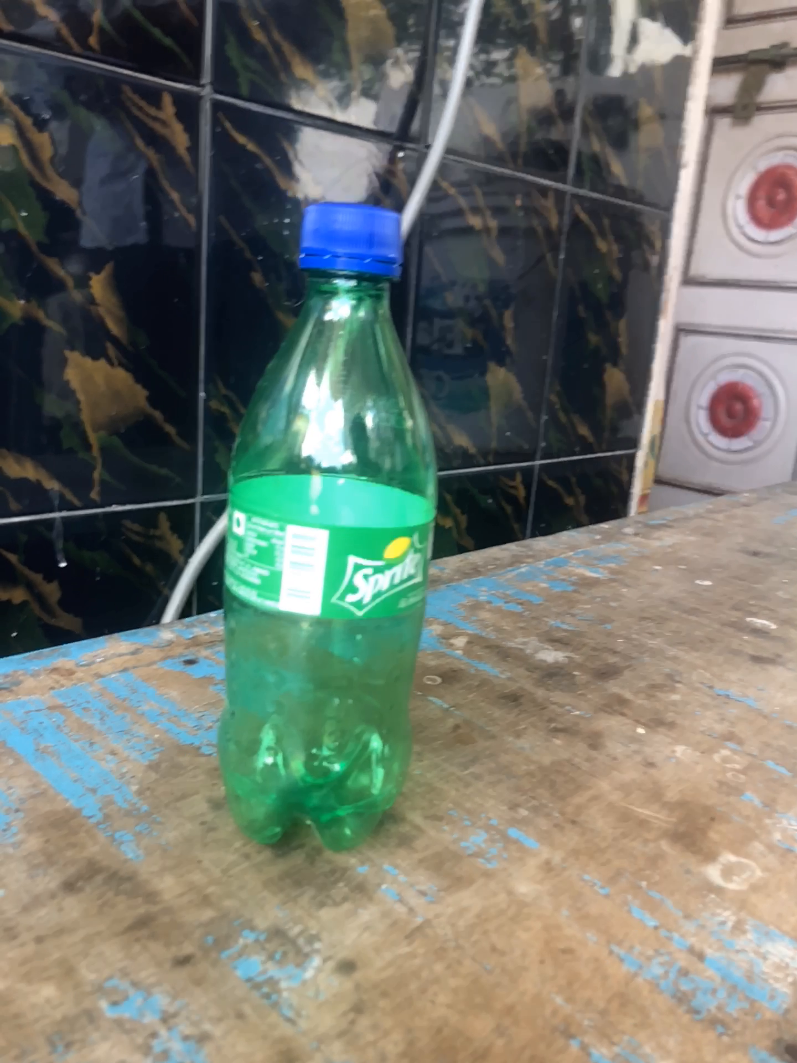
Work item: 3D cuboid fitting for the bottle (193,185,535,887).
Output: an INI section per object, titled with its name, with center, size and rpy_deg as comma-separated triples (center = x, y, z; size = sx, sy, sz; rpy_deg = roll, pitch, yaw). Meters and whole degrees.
[bottle]
center = -0.013, 0.000, 0.231
size = 0.060, 0.159, 0.050
rpy_deg = -6, 18, -37
